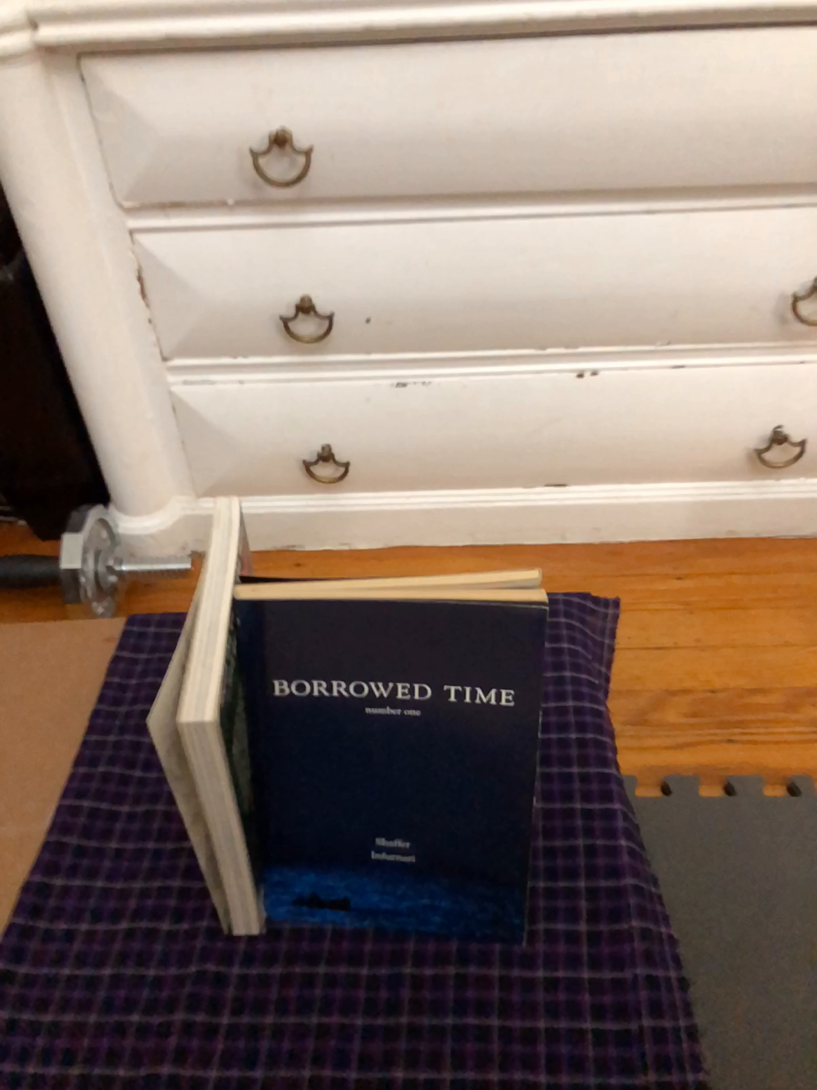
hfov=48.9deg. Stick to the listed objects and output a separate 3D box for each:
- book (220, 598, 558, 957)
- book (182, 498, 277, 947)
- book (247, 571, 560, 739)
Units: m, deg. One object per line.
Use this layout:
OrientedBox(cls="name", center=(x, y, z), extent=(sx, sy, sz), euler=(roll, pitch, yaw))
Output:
OrientedBox(cls="book", center=(-0.008, 0.119, 0.439), extent=(0.150, 0.199, 0.010), euler=(0, 22, 3))
OrientedBox(cls="book", center=(-0.086, 0.094, 0.463), extent=(0.020, 0.189, 0.141), euler=(1, 42, -4))
OrientedBox(cls="book", center=(0.003, 0.068, 0.490), extent=(0.140, 0.199, 0.010), euler=(-3, 61, 2))
